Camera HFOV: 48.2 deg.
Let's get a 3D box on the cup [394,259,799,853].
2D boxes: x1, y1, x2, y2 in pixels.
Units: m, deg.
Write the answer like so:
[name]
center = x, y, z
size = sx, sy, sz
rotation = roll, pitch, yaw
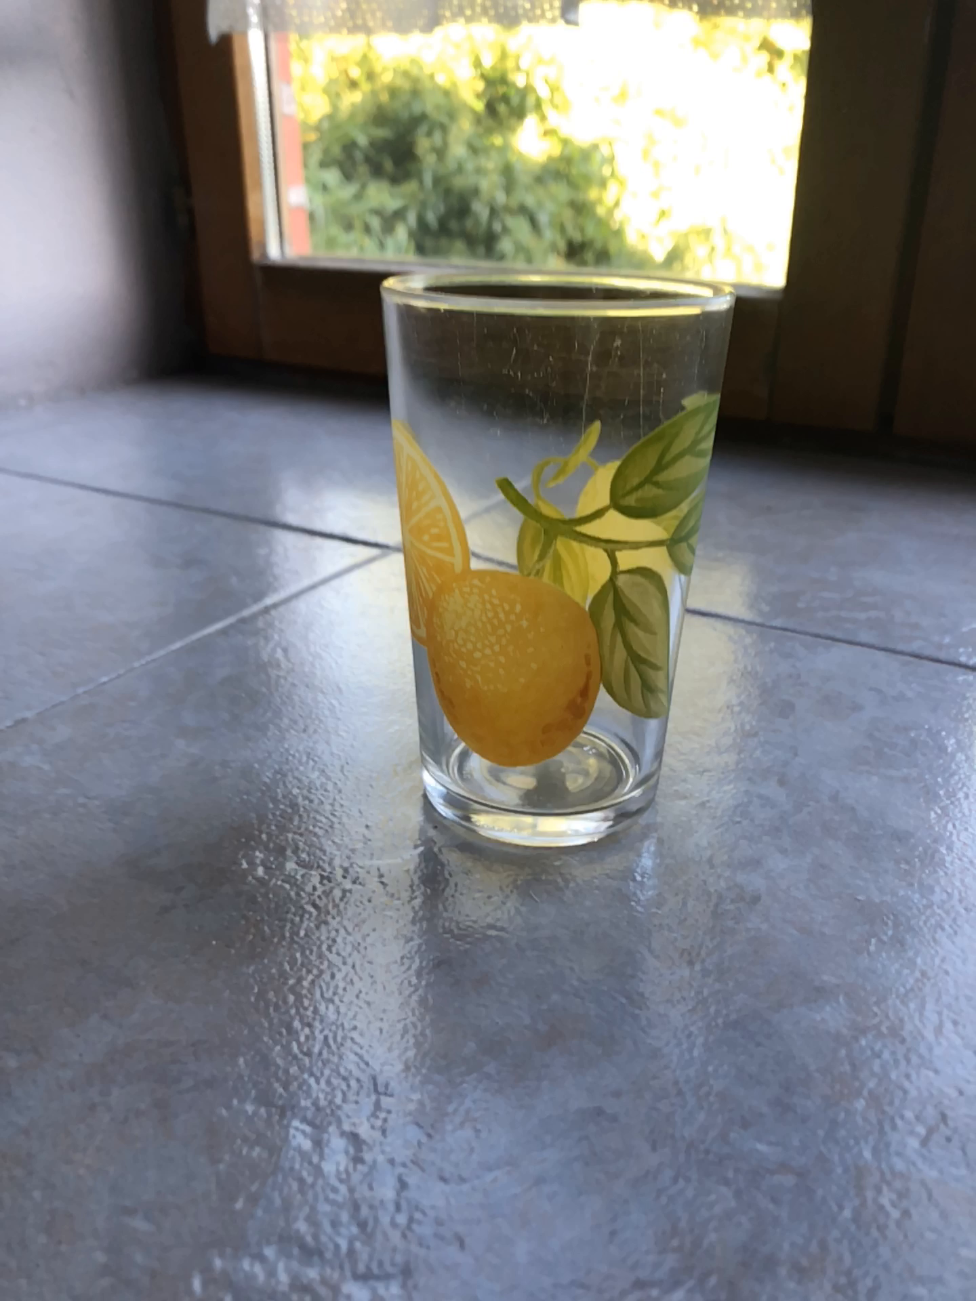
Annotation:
[cup]
center = 0.017, -0.024, 0.244
size = 0.070, 0.112, 0.070
rotation = 0, 25, 0
